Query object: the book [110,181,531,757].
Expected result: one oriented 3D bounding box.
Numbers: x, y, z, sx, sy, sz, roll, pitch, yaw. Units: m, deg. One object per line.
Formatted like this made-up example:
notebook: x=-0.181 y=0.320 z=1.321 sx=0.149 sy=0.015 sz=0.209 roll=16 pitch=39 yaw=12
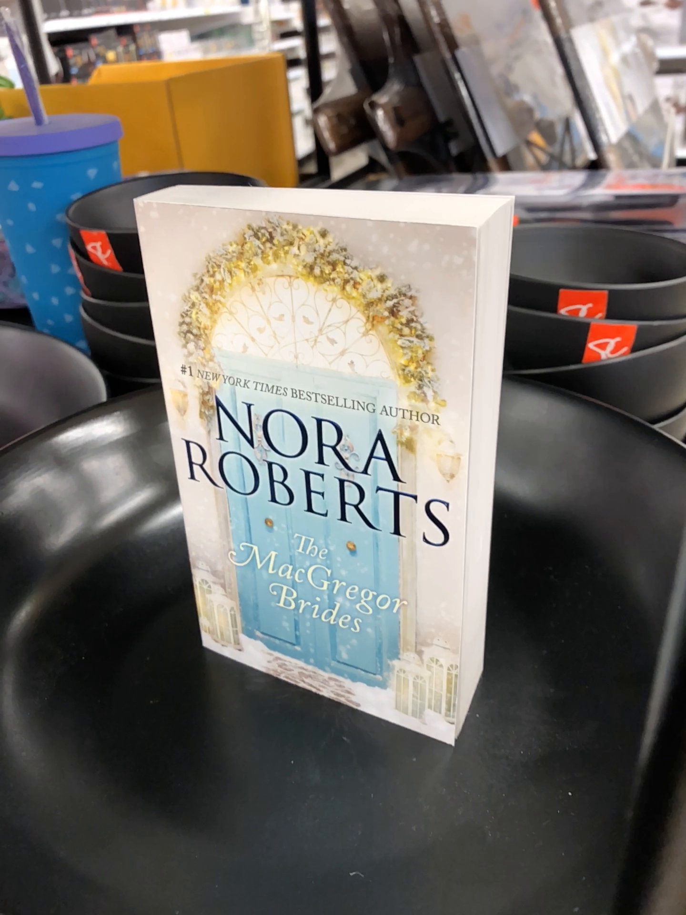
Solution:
book: x=-0.004 y=0.003 z=0.250 sx=0.111 sy=0.168 sz=0.040 roll=12 pitch=32 yaw=28
